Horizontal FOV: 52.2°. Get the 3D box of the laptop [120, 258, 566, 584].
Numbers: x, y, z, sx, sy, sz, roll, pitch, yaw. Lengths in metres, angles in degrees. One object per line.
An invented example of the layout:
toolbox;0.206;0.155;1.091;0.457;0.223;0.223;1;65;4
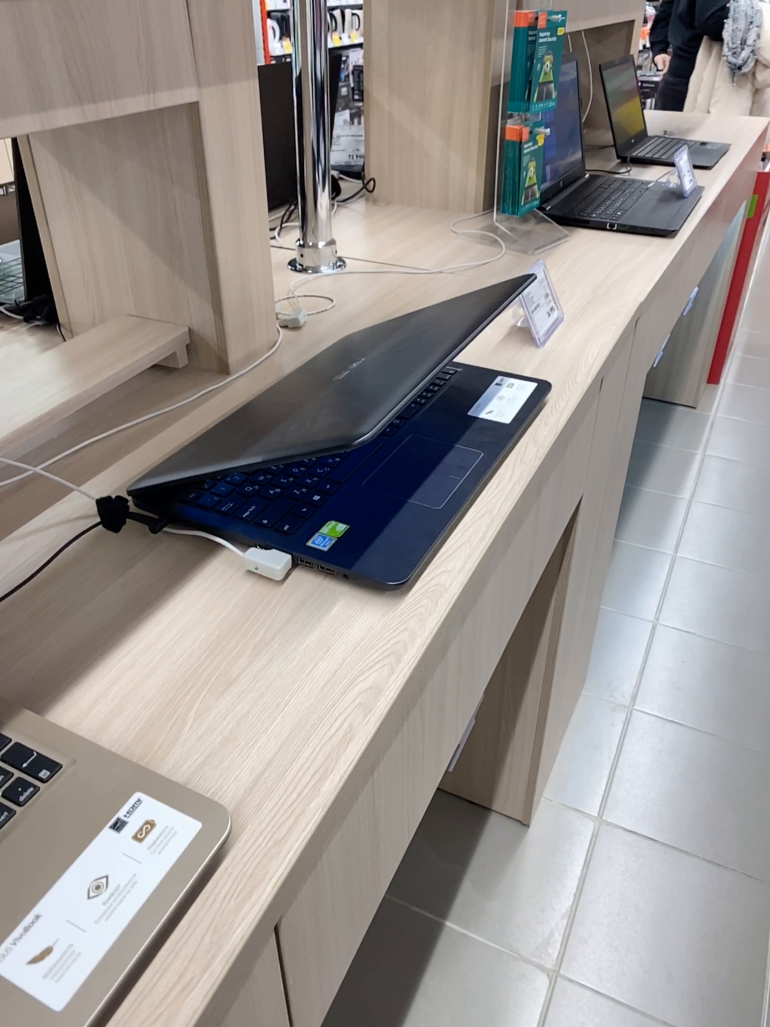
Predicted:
laptop;-0.008;-0.118;0.717;0.235;0.098;0.387;17;36;21
